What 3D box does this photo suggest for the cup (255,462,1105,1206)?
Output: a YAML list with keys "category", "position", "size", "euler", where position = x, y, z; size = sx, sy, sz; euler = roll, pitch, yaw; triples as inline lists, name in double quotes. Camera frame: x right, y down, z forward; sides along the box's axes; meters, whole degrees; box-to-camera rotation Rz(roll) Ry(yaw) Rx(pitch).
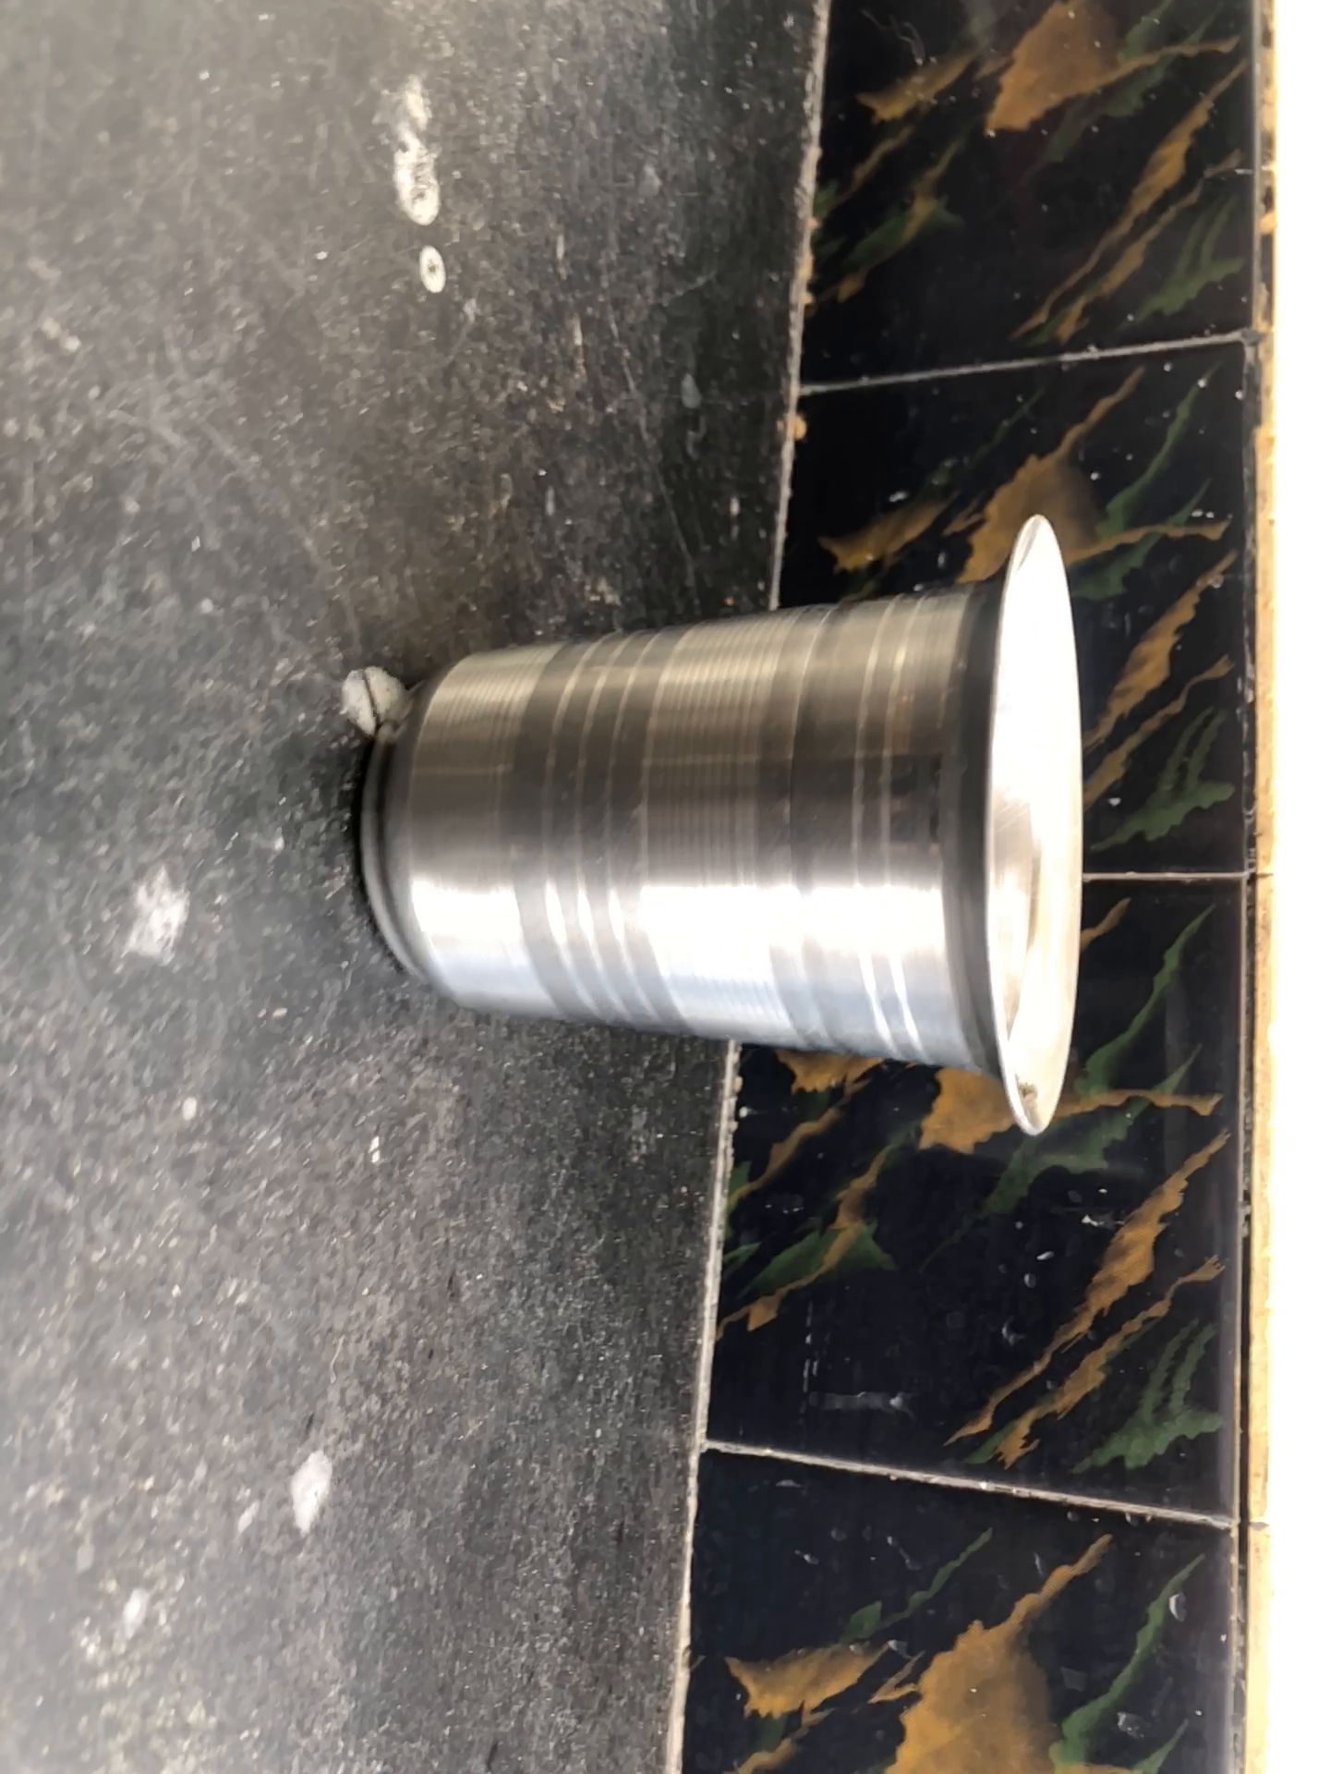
- category: "cup"
  position: [0.010, -0.011, 0.241]
  size: [0.091, 0.109, 0.090]
  euler: [1, 90, -69]
